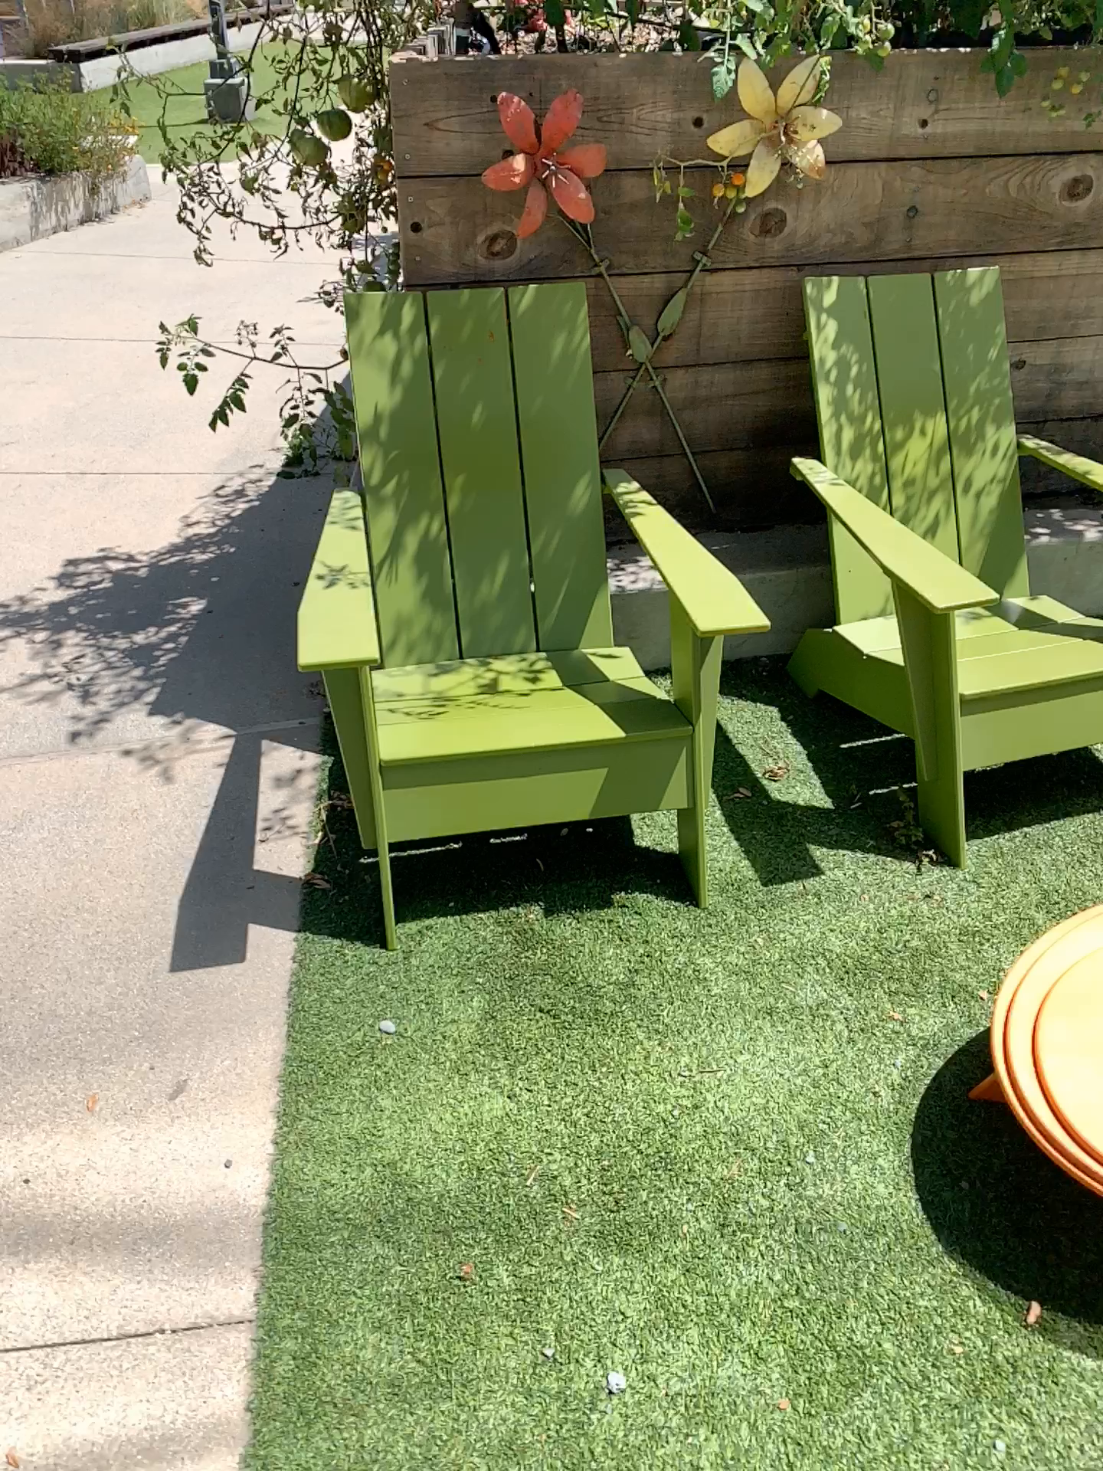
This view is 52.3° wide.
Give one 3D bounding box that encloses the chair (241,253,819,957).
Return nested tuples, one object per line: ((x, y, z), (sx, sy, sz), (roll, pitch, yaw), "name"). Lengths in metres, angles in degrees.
((-0.090, -0.293, 1.894), (0.680, 0.835, 0.906), (-6, 30, -9), "chair")

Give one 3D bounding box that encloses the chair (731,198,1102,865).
((0.839, -0.441, 2.214), (0.680, 0.985, 0.894), (-9, 21, -6), "chair")
